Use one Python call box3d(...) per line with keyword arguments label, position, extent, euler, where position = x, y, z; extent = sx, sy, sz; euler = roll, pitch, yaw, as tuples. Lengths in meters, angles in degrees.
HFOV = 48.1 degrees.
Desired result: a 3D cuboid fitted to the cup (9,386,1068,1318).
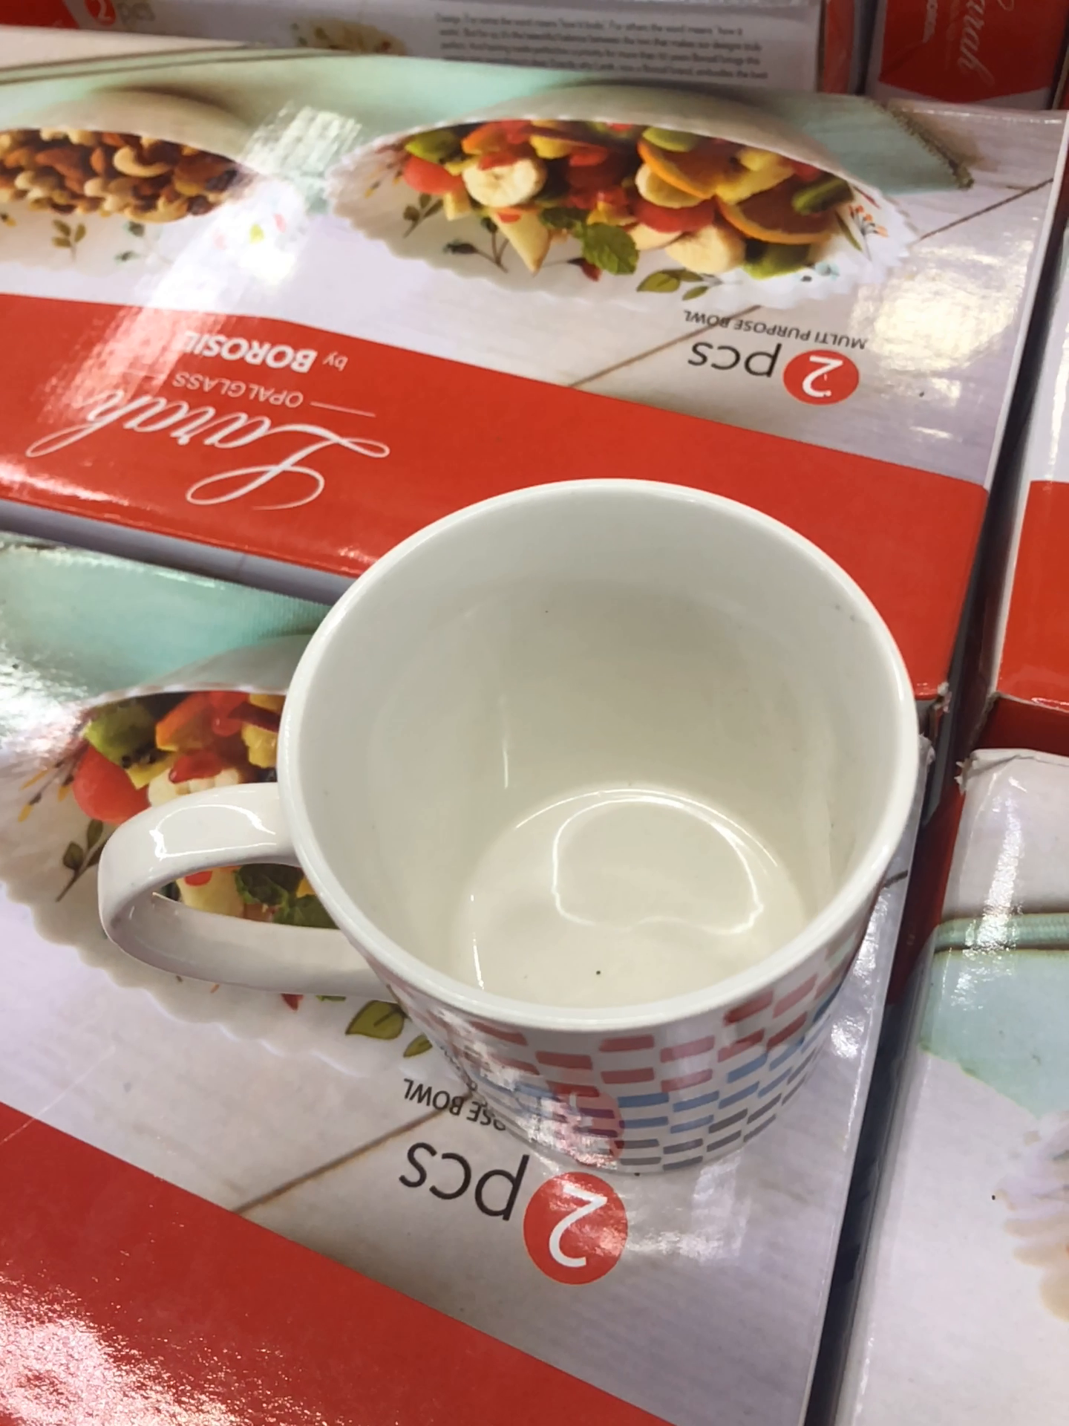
box3d(label="cup", position=(-0.002, 0.026, 0.189), extent=(0.120, 0.090, 0.090), euler=(-14, 57, -2))
